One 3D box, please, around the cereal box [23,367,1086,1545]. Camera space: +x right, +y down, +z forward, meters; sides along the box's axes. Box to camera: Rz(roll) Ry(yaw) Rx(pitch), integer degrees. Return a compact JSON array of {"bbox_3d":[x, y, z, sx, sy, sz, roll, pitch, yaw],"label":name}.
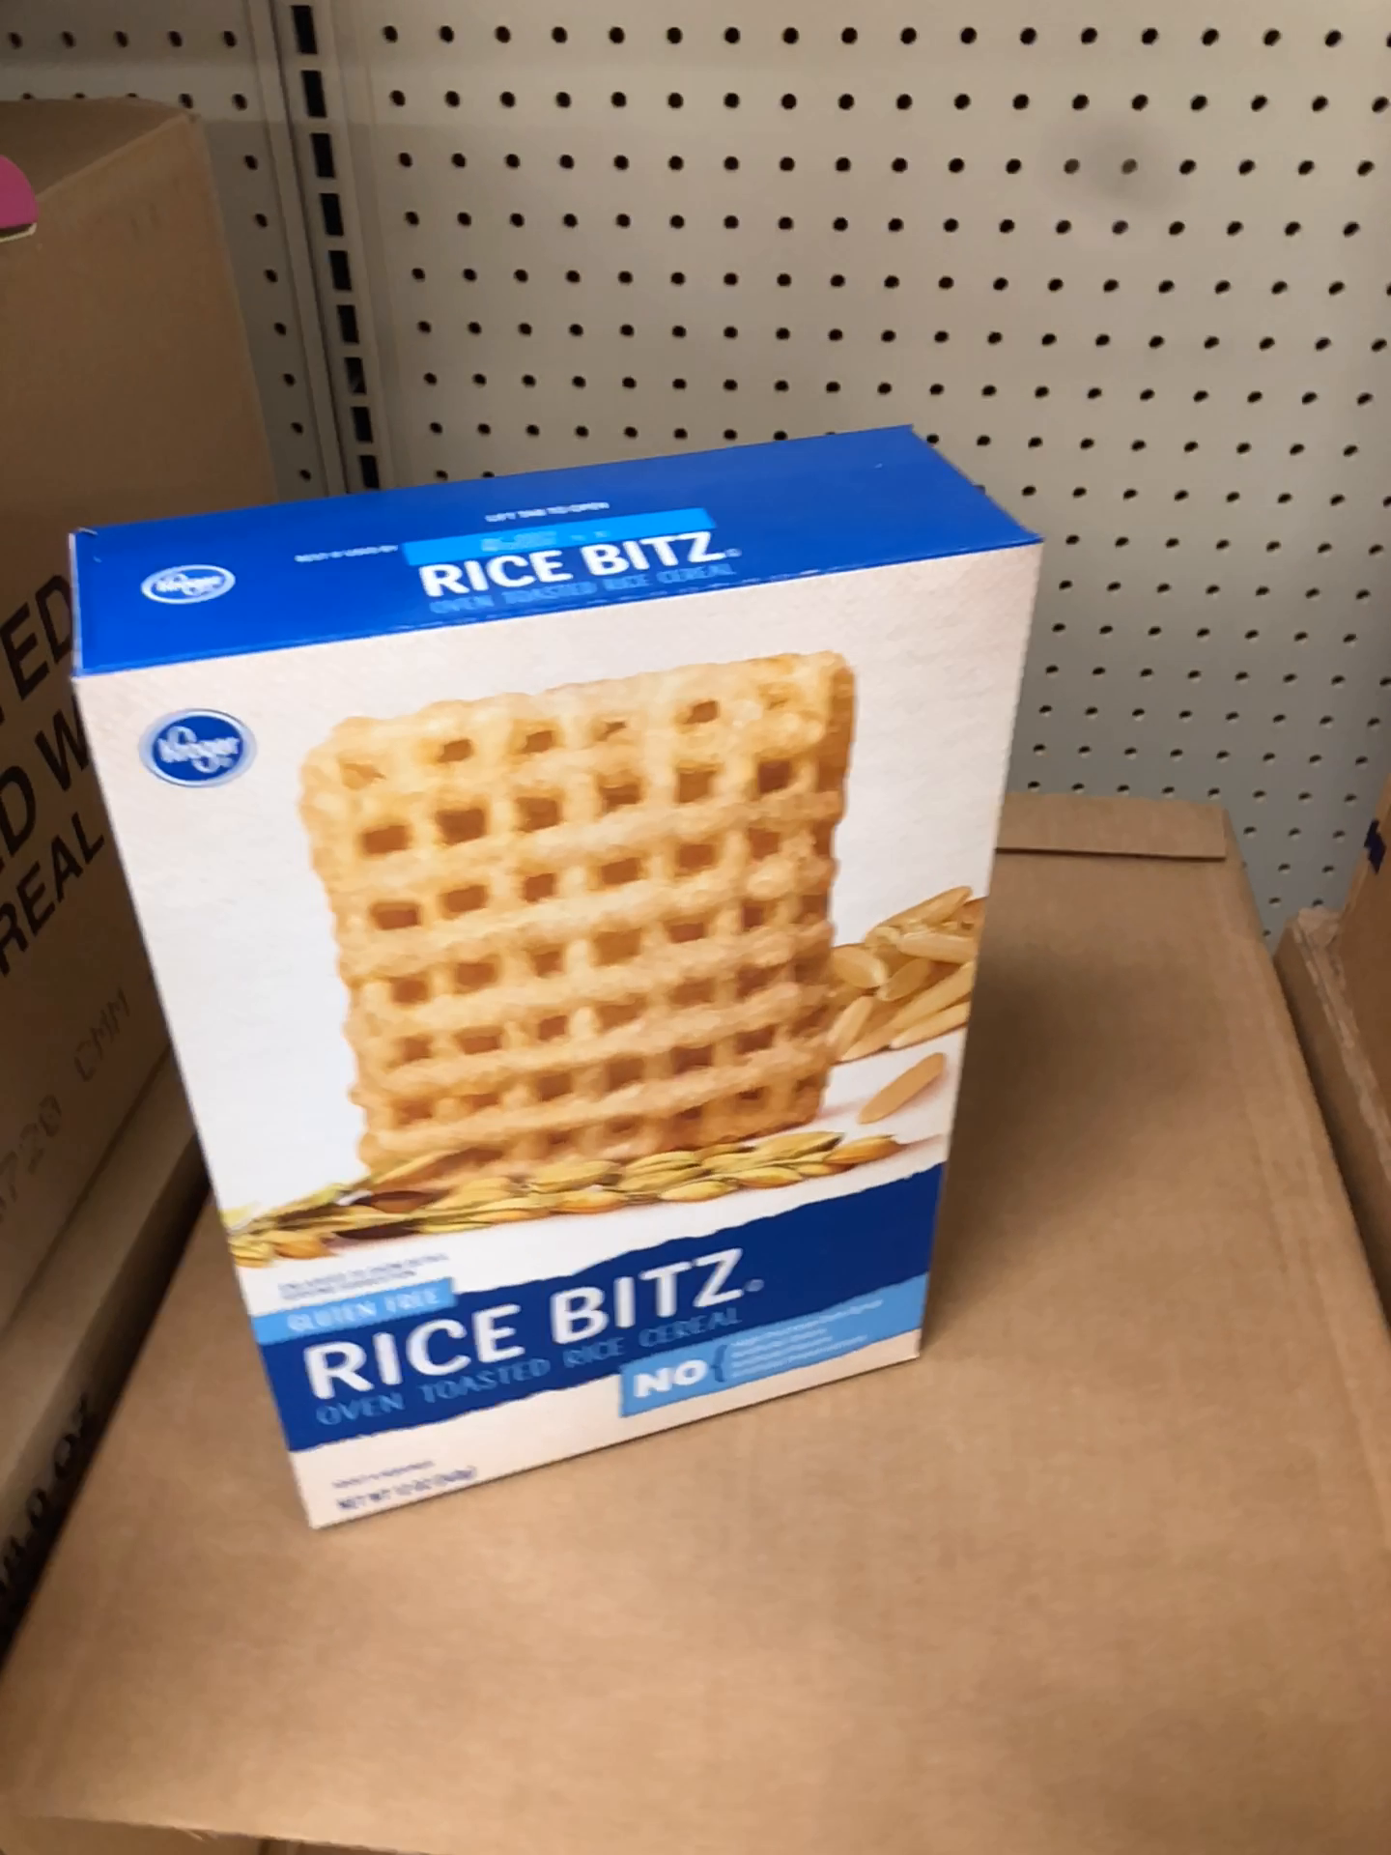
[{"bbox_3d":[-0.027,0.023,0.399,0.200,0.289,0.070,-12,40,-13],"label":"cereal box"}]
